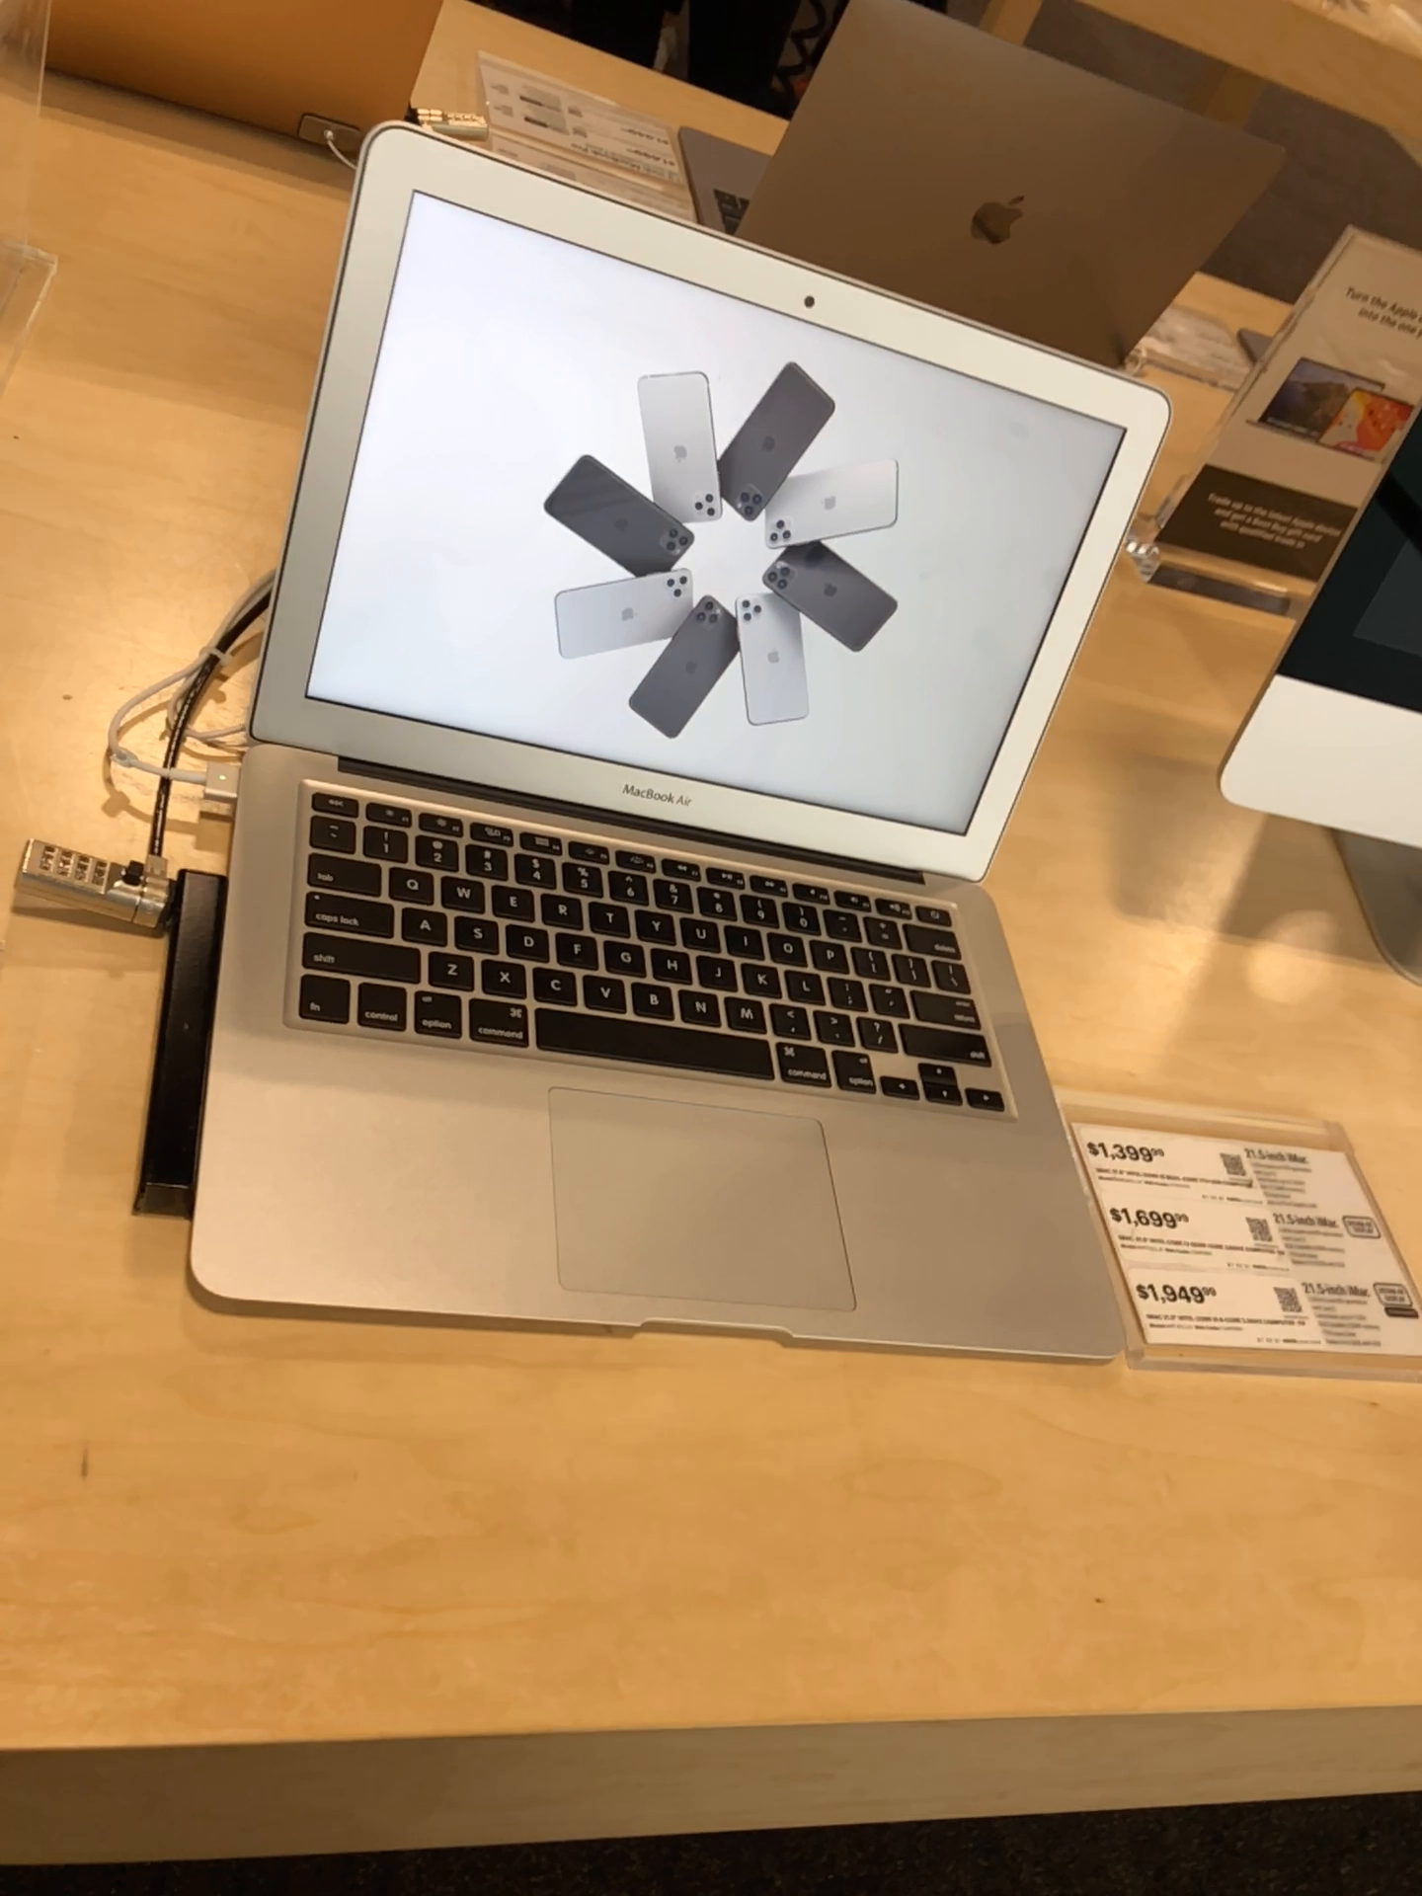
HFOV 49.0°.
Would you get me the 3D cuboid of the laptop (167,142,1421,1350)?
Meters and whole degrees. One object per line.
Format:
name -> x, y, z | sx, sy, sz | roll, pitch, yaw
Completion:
laptop -> 0.015, -0.062, 0.535 | 0.324, 0.202, 0.310 | 9, 47, -19
